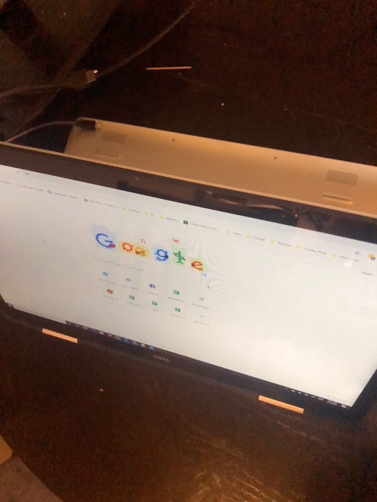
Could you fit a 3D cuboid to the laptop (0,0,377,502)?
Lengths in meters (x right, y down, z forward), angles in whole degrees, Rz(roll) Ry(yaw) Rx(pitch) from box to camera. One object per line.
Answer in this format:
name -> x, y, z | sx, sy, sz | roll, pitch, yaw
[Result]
laptop -> -0.014, -0.022, 0.368 | 0.419, 0.233, 0.267 | 14, 83, 14
